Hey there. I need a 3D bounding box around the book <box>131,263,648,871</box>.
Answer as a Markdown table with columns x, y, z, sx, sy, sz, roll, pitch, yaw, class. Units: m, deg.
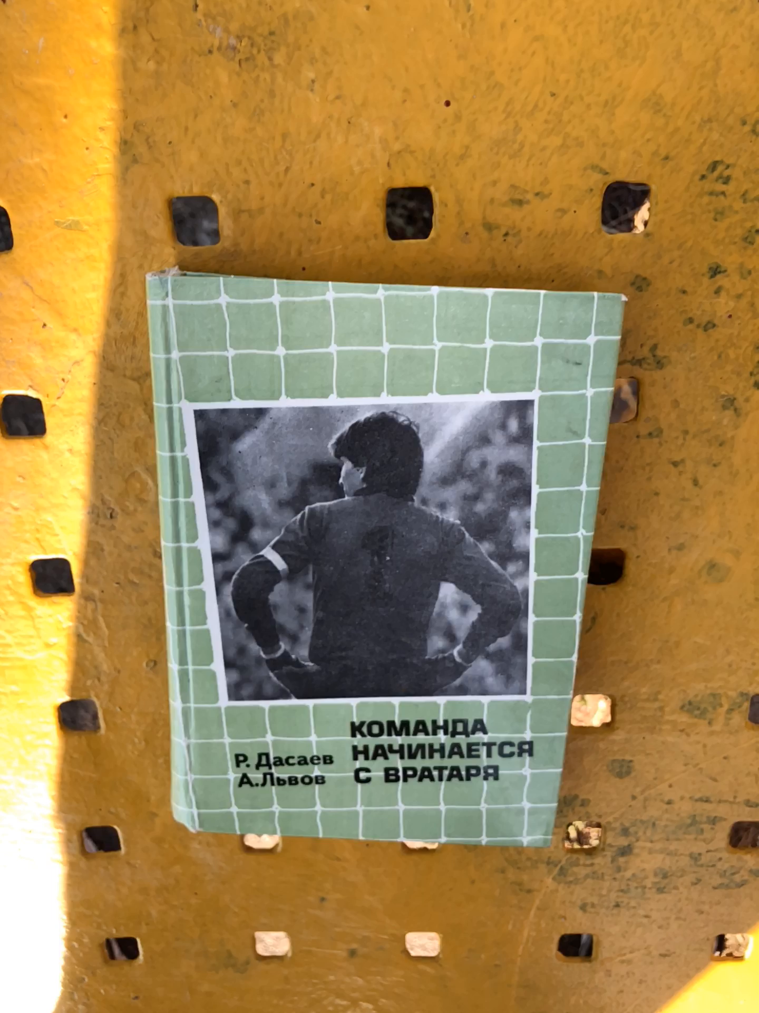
| x | y | z | sx | sy | sz | roll | pitch | yaw | class |
| --- | --- | --- | --- | --- | --- | --- | --- | --- | --- |
| -0.001 | 0.022 | 0.235 | 0.117 | 0.030 | 0.165 | 3 | 111 | 1 | book |
